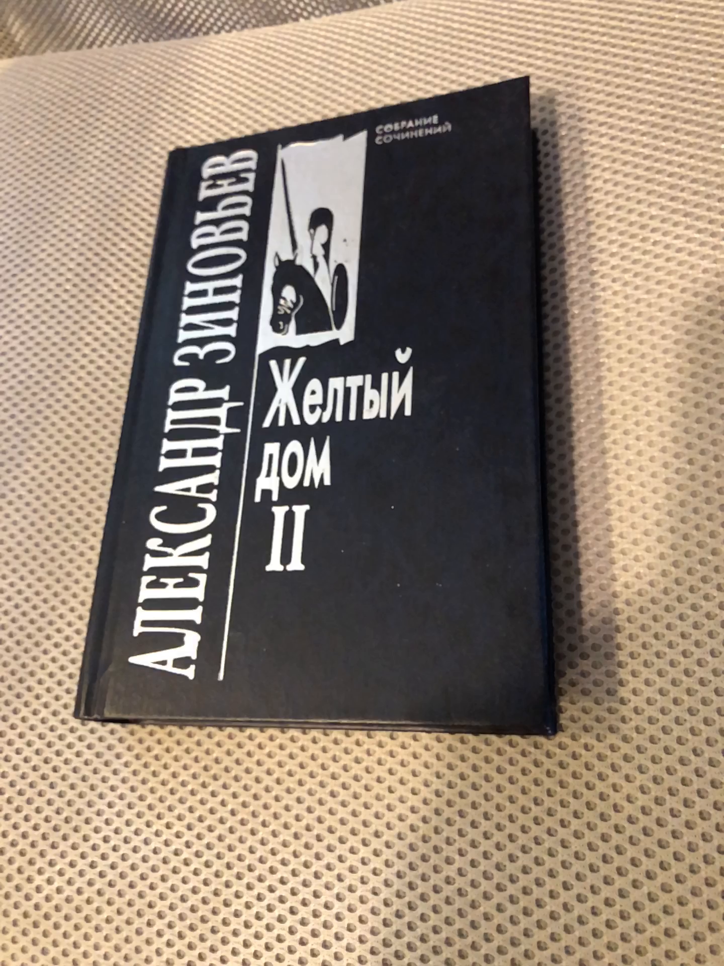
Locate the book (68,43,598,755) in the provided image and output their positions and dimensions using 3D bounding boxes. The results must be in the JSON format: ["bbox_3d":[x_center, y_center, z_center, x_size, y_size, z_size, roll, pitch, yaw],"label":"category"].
[{"bbox_3d":[-0.005,-0.030,0.252,0.140,0.030,0.211,-4,69,18],"label":"book"}]
